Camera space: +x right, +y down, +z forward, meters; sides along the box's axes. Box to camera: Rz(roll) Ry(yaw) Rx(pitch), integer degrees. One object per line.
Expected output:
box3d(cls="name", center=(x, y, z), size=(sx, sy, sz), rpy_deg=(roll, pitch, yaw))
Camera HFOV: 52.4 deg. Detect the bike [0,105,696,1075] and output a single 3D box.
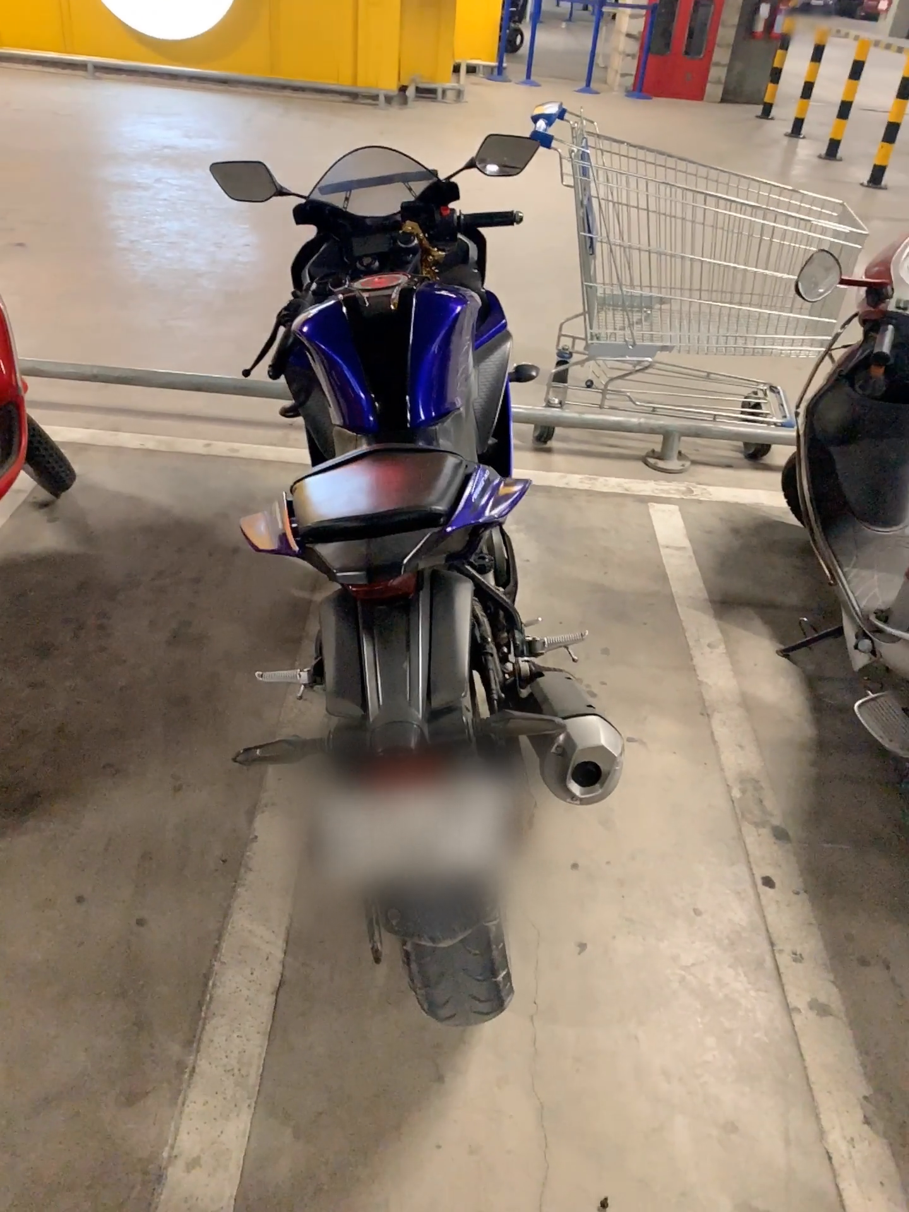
box3d(cls="bike", center=(-0.344, -0.193, 1.752), size=(0.687, 0.933, 1.657), rpy_deg=(-3, 40, -13))
